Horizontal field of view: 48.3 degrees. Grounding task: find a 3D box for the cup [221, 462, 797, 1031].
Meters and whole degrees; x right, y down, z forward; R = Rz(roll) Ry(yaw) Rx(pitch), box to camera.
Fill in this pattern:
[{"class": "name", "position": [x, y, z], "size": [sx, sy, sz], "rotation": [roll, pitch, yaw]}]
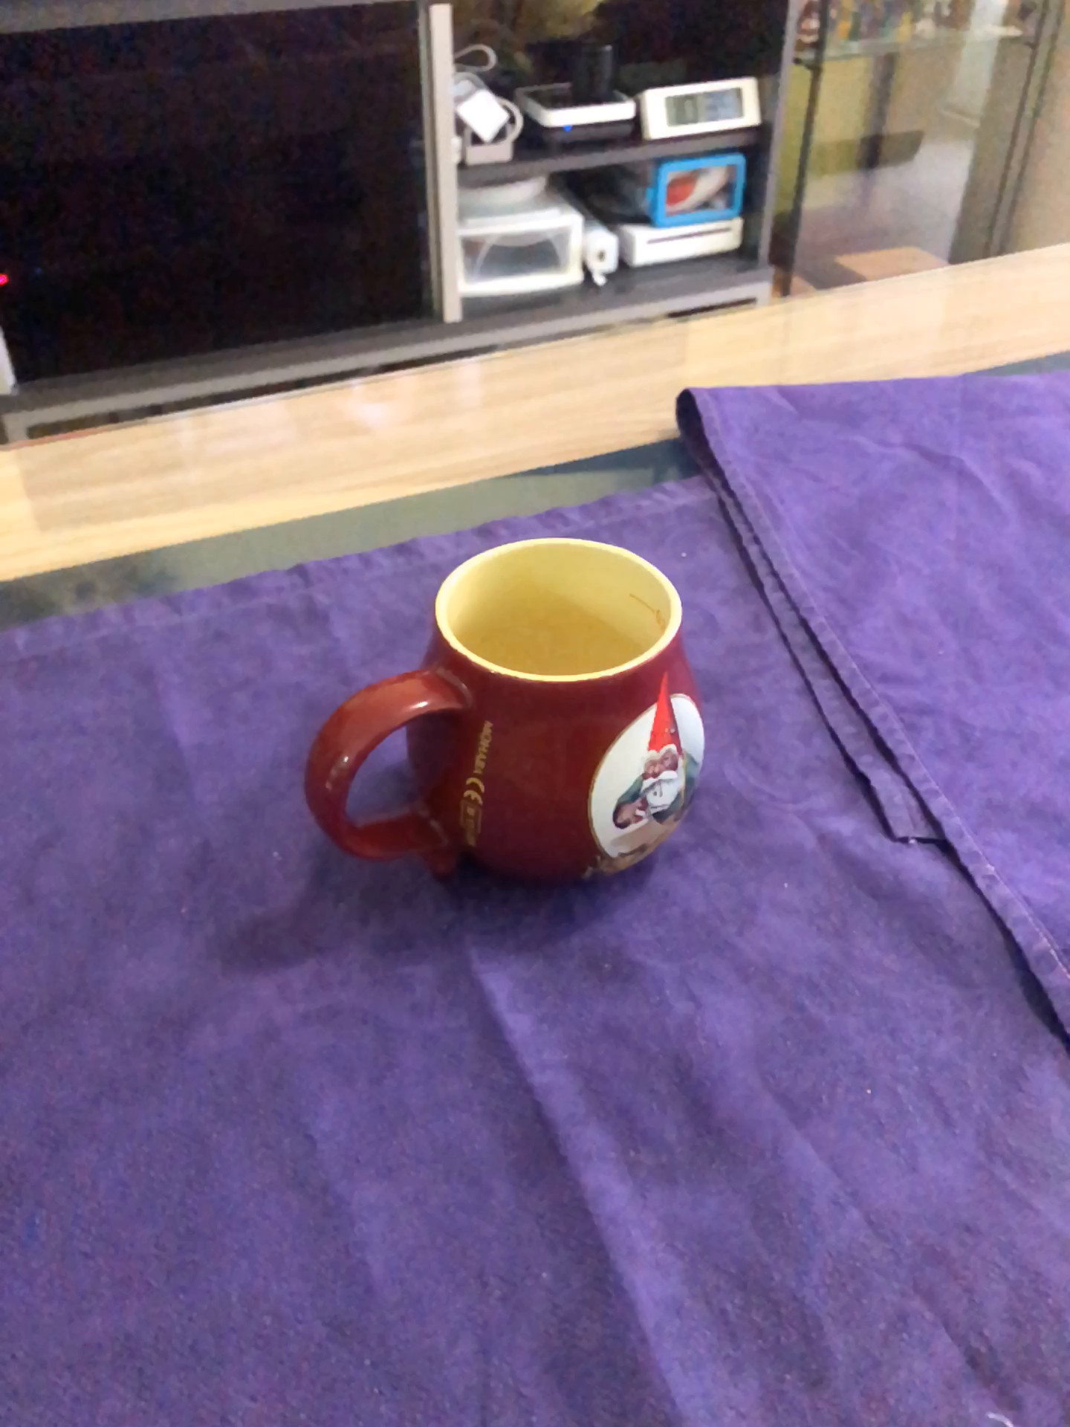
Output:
[{"class": "cup", "position": [-0.006, 0.004, 0.328], "size": [0.120, 0.090, 0.080], "rotation": [-23, 45, -25]}]
